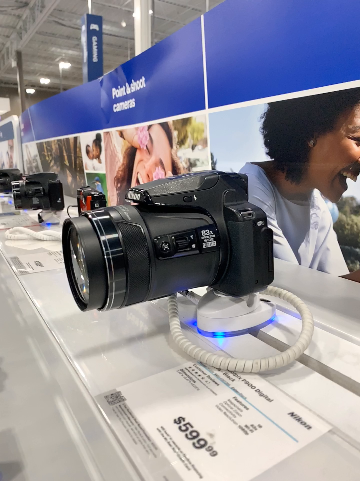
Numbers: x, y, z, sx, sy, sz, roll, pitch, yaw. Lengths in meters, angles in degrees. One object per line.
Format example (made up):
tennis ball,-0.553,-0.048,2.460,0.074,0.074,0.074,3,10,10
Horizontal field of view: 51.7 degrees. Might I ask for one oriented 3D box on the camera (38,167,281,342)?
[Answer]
camera,-0.024,-0.008,0.317,0.153,0.100,0.140,-7,15,-30
